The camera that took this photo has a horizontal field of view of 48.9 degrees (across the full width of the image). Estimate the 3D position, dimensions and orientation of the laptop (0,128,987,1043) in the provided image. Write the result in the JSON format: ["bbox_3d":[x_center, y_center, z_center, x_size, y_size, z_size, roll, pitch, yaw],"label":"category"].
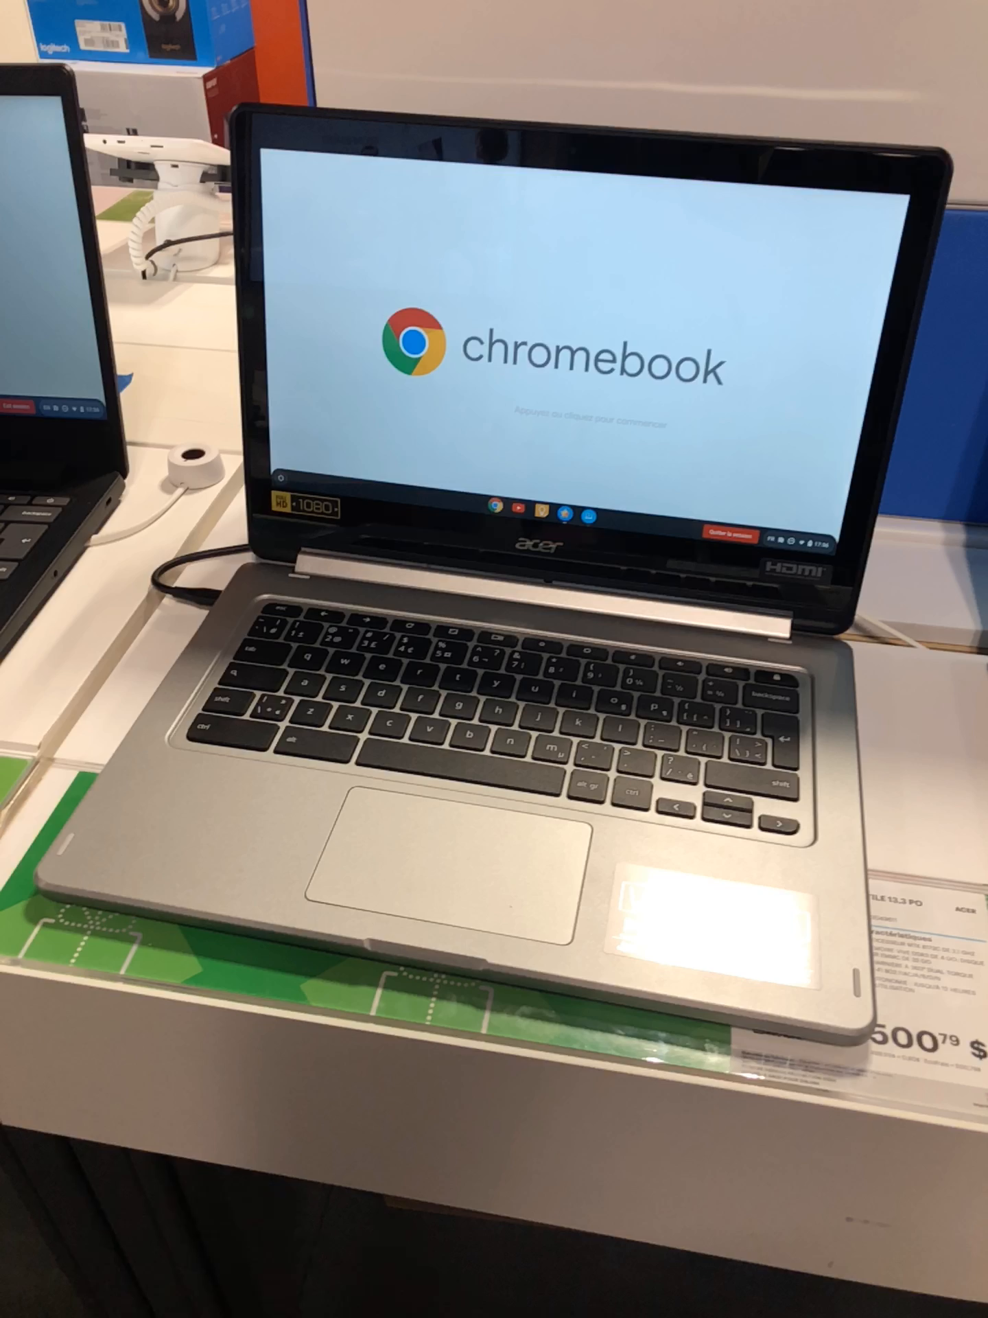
[{"bbox_3d":[-0.002,-0.049,0.423,0.317,0.226,0.240,8,39,9],"label":"laptop"}]
